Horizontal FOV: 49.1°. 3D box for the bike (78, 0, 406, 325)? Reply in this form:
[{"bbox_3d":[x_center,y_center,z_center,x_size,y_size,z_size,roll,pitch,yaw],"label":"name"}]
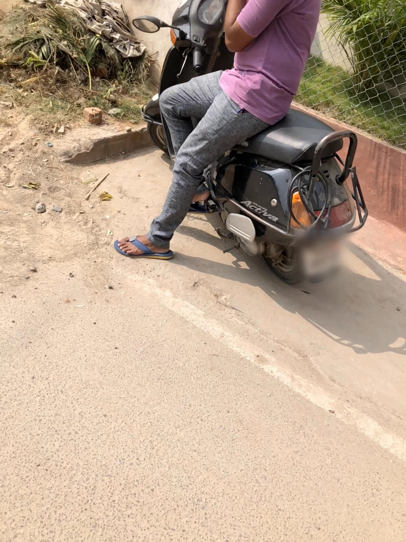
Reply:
[{"bbox_3d":[0.048,-0.747,2.192,0.710,1.152,1.552,-10,42,-33],"label":"bike"}]
